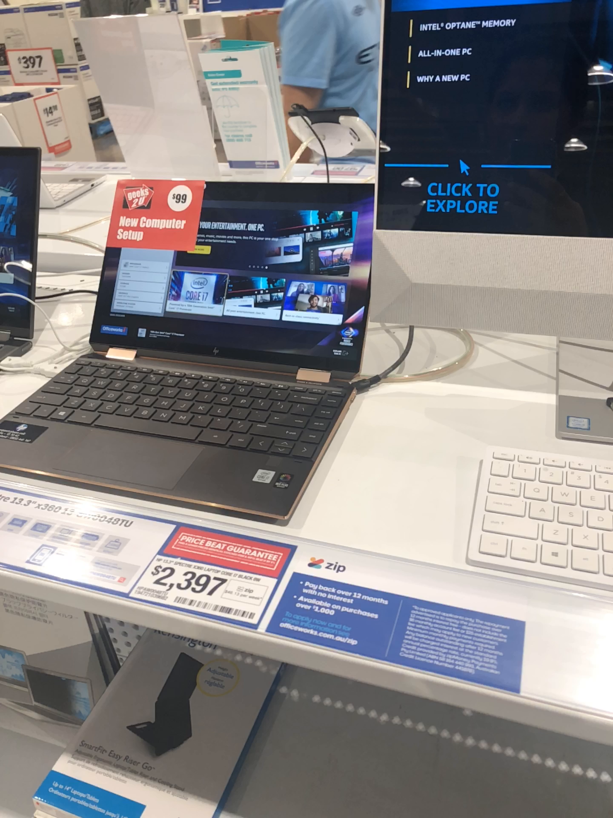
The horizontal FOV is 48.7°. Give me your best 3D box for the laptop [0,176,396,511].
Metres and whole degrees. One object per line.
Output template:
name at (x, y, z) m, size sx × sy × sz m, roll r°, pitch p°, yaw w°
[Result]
laptop at (-0.101, -0.092, 0.611) m, size 0.298 × 0.147 × 0.315 m, roll 7°, pitch 35°, yaw 19°
